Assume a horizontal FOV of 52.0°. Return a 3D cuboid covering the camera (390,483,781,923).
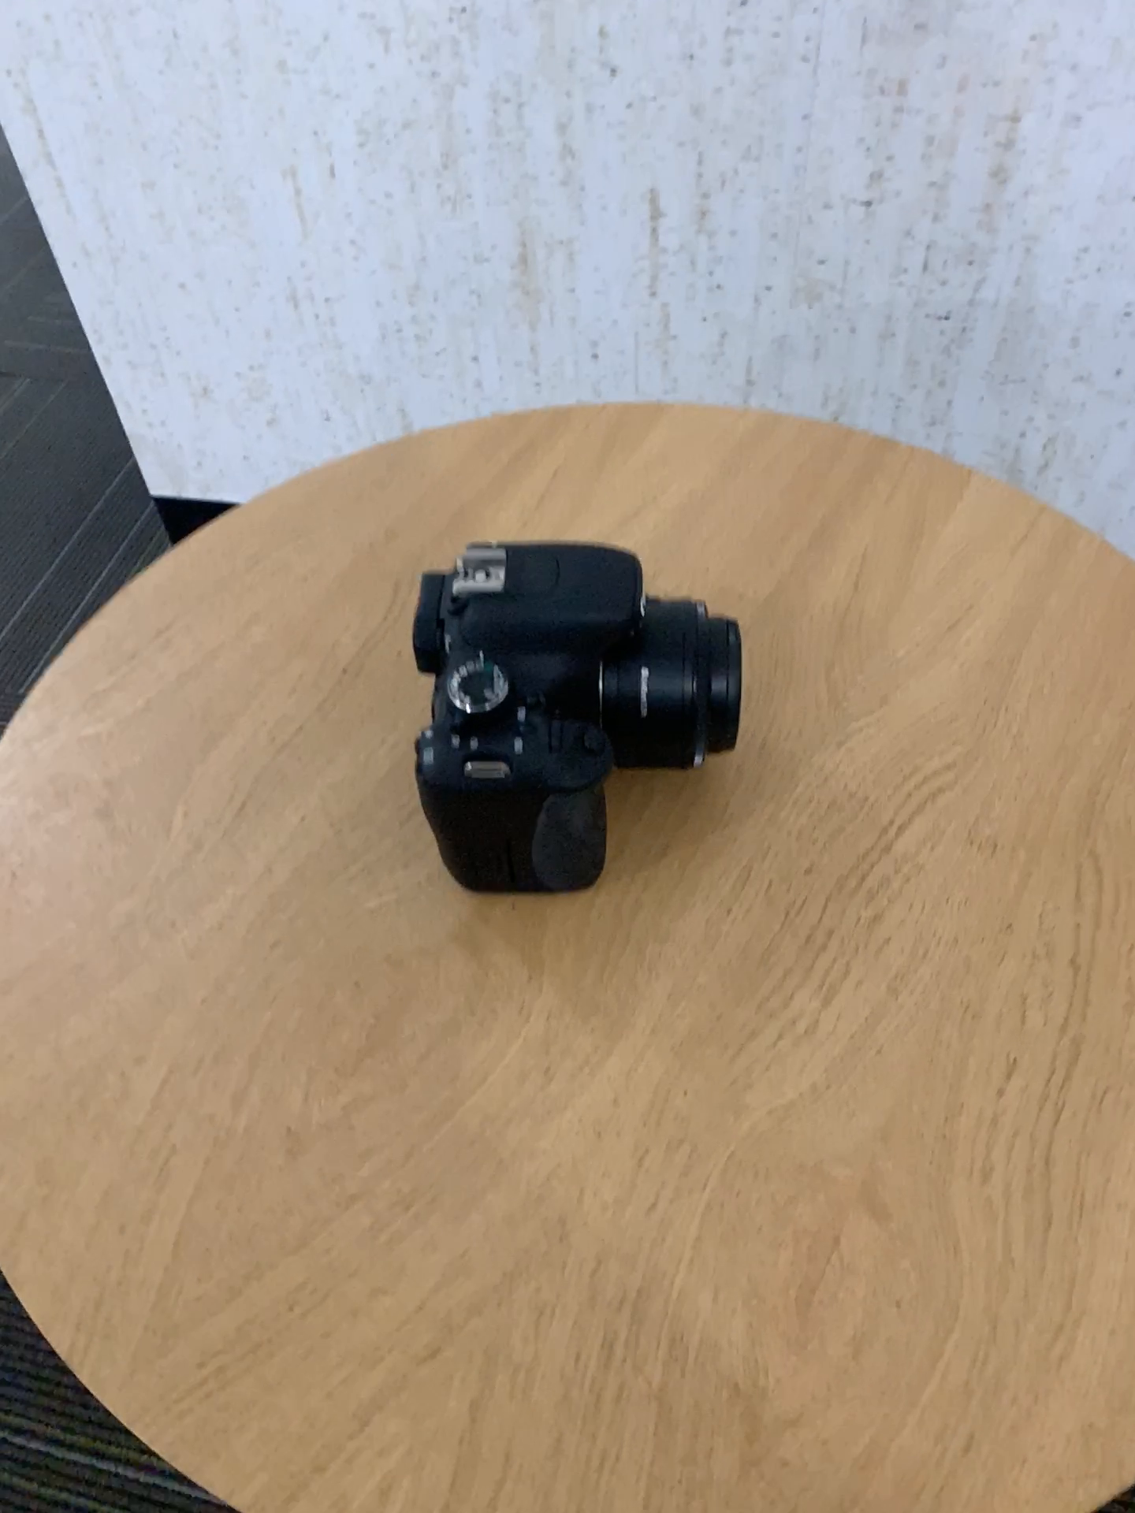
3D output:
[{"bbox_3d":[0.010,-0.021,0.436,0.120,0.100,0.130,1,51,4],"label":"camera"}]
